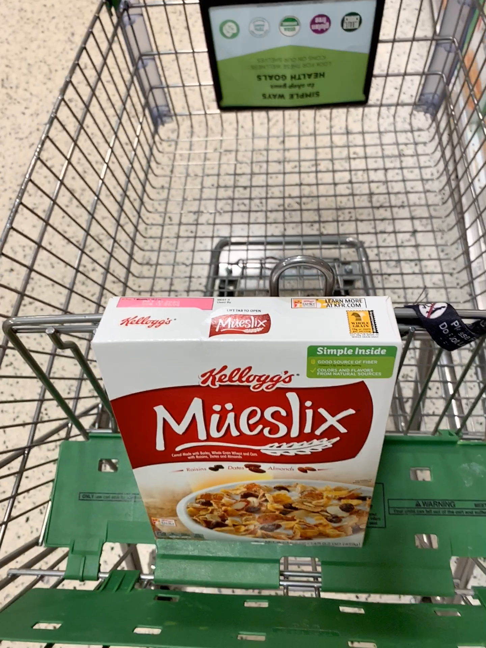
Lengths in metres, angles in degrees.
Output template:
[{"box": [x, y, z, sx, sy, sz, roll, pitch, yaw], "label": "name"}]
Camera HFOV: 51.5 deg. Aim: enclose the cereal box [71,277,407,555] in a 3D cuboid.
[{"box": [0.003, 0.090, 0.408, 0.200, 0.268, 0.060, 0, 40, 4], "label": "cereal box"}]
